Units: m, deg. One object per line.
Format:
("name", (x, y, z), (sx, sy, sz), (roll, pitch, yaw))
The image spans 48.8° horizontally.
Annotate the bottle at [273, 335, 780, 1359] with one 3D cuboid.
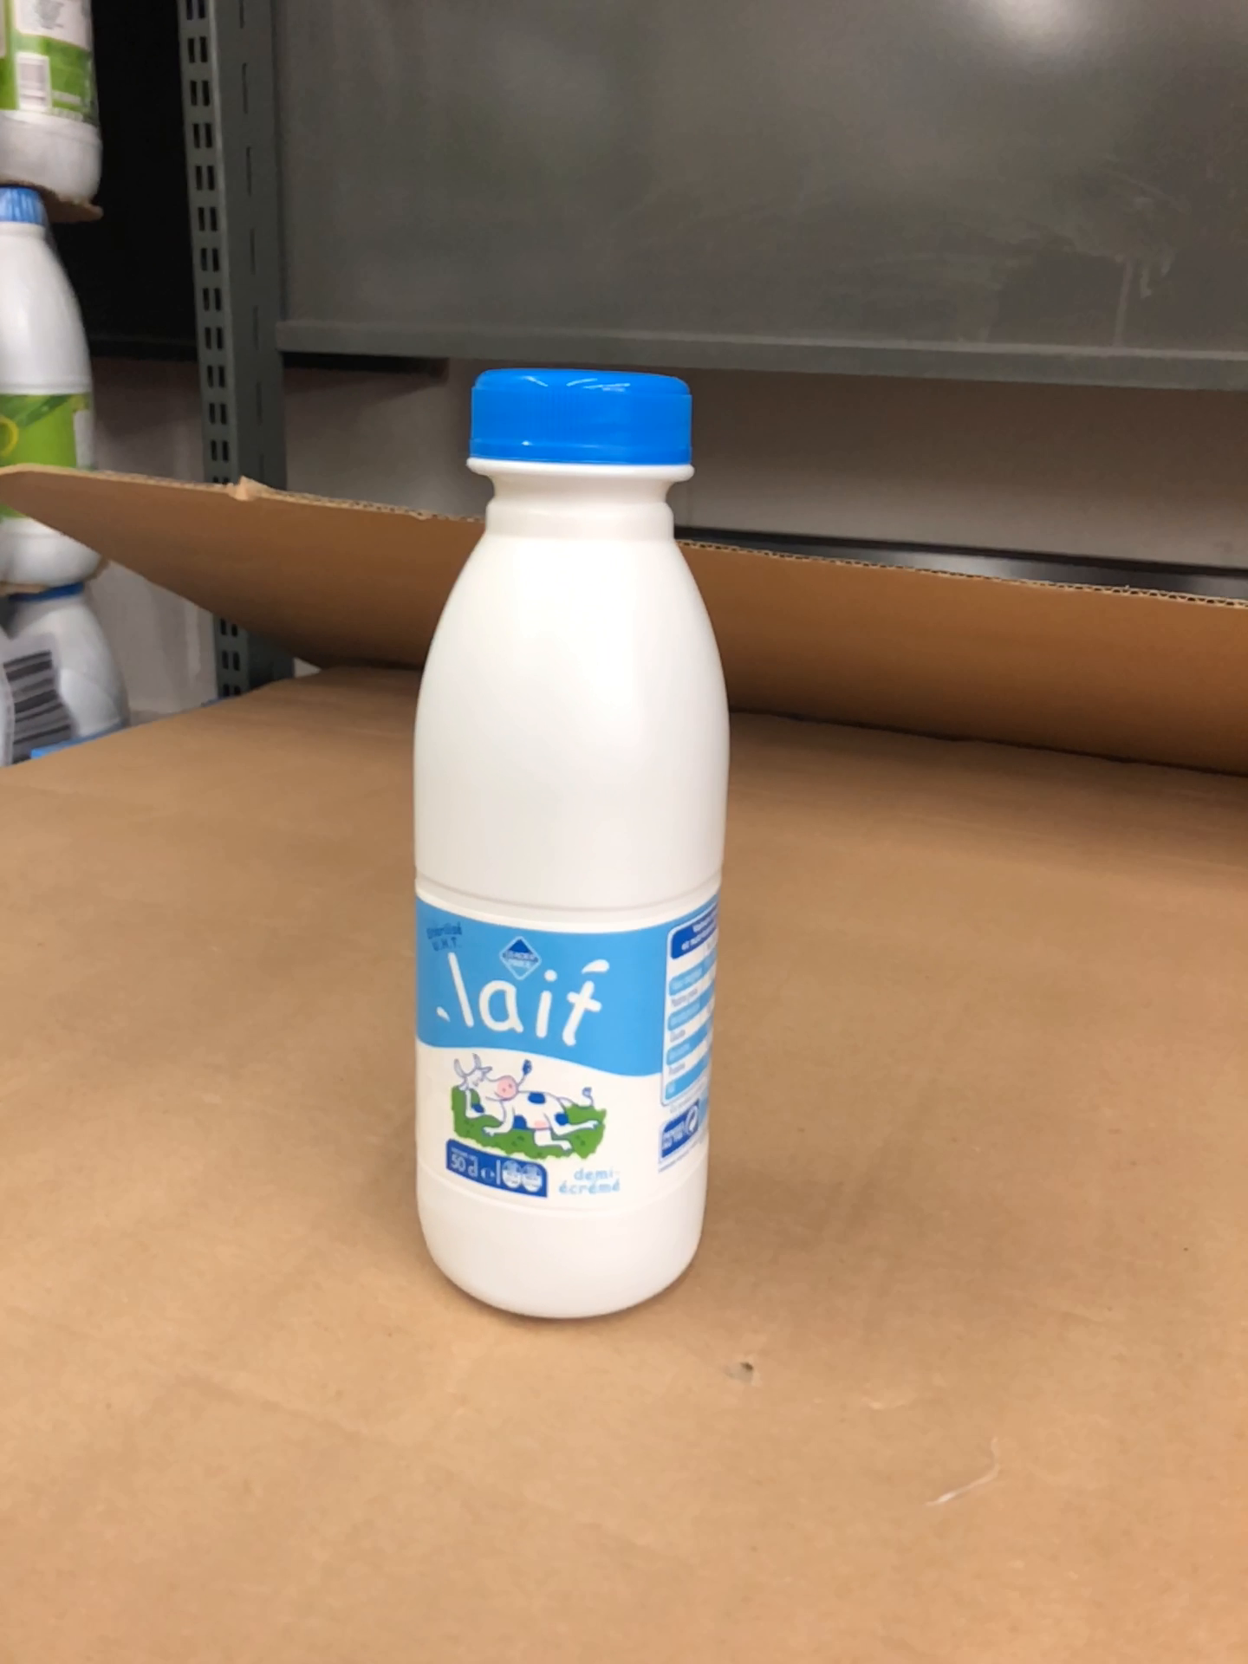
("bottle", (-0.019, -0.001, 0.287), (0.070, 0.189, 0.070), (2, 18, -1))
